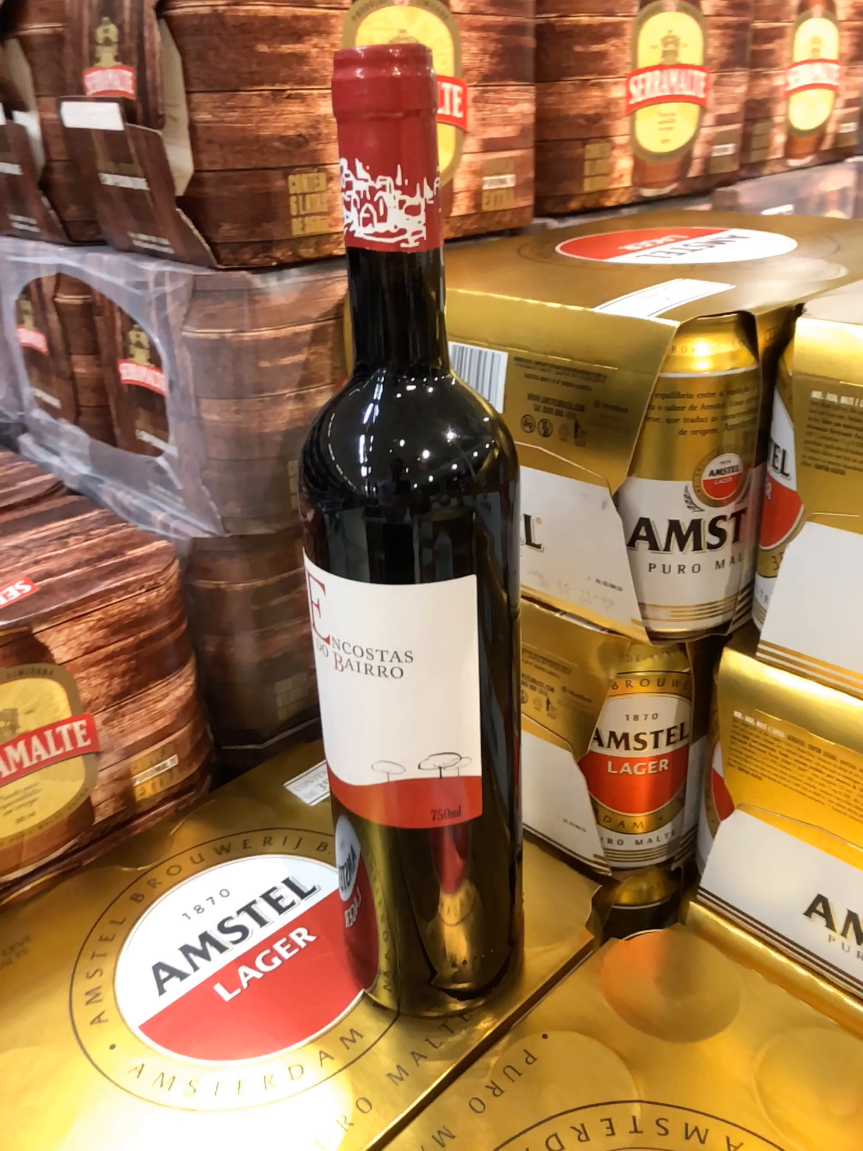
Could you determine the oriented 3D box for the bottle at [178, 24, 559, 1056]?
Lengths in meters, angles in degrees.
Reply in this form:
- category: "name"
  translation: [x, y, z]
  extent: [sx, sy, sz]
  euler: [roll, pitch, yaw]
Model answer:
- category: "bottle"
  translation: [-0.007, 0.006, 0.313]
  extent: [0.070, 0.318, 0.070]
  euler: [-2, 26, 1]
